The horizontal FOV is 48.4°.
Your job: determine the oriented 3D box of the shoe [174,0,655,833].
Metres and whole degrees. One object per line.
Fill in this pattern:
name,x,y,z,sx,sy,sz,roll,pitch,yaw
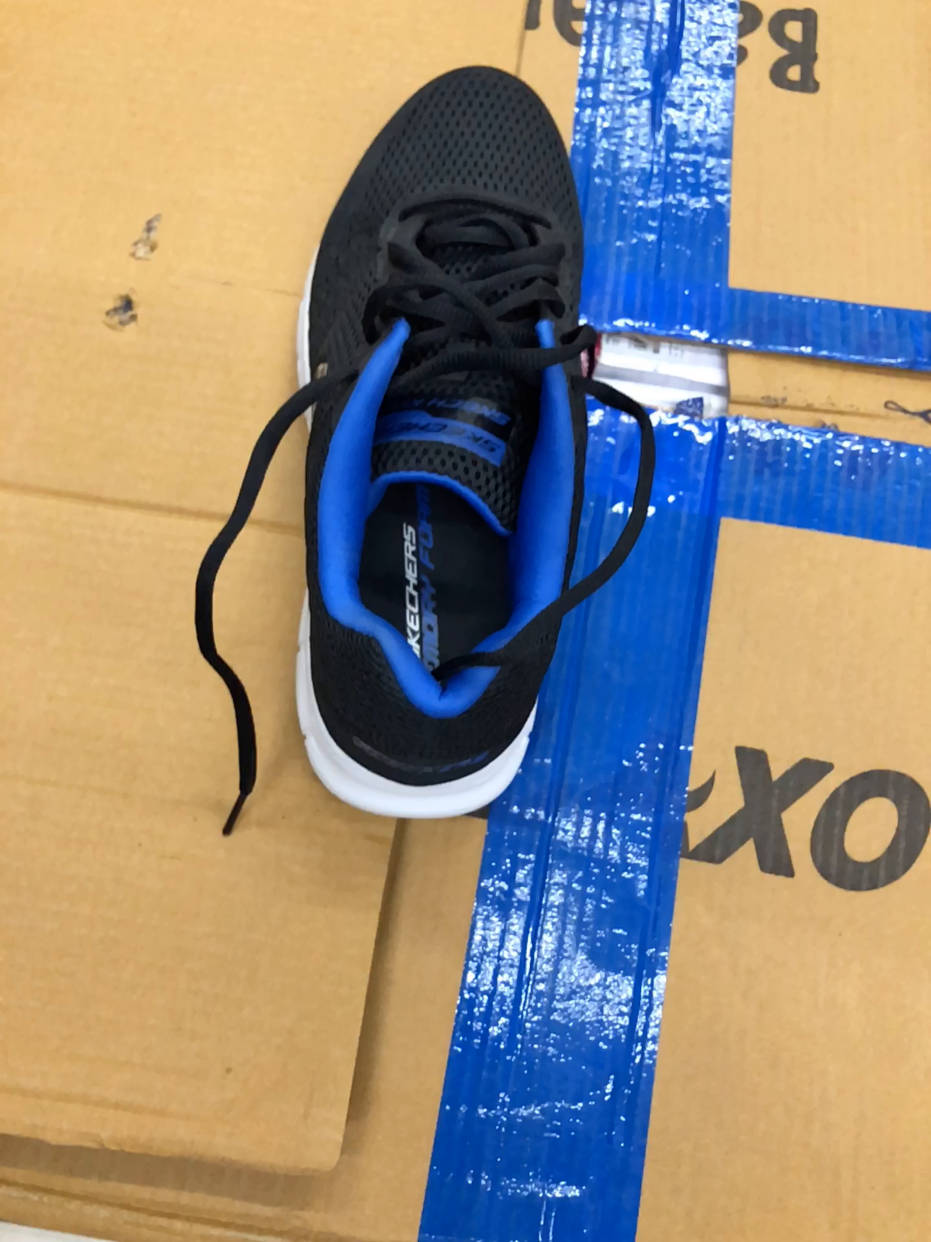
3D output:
shoe,-0.009,-0.073,0.364,0.110,0.130,0.271,6,74,-1
